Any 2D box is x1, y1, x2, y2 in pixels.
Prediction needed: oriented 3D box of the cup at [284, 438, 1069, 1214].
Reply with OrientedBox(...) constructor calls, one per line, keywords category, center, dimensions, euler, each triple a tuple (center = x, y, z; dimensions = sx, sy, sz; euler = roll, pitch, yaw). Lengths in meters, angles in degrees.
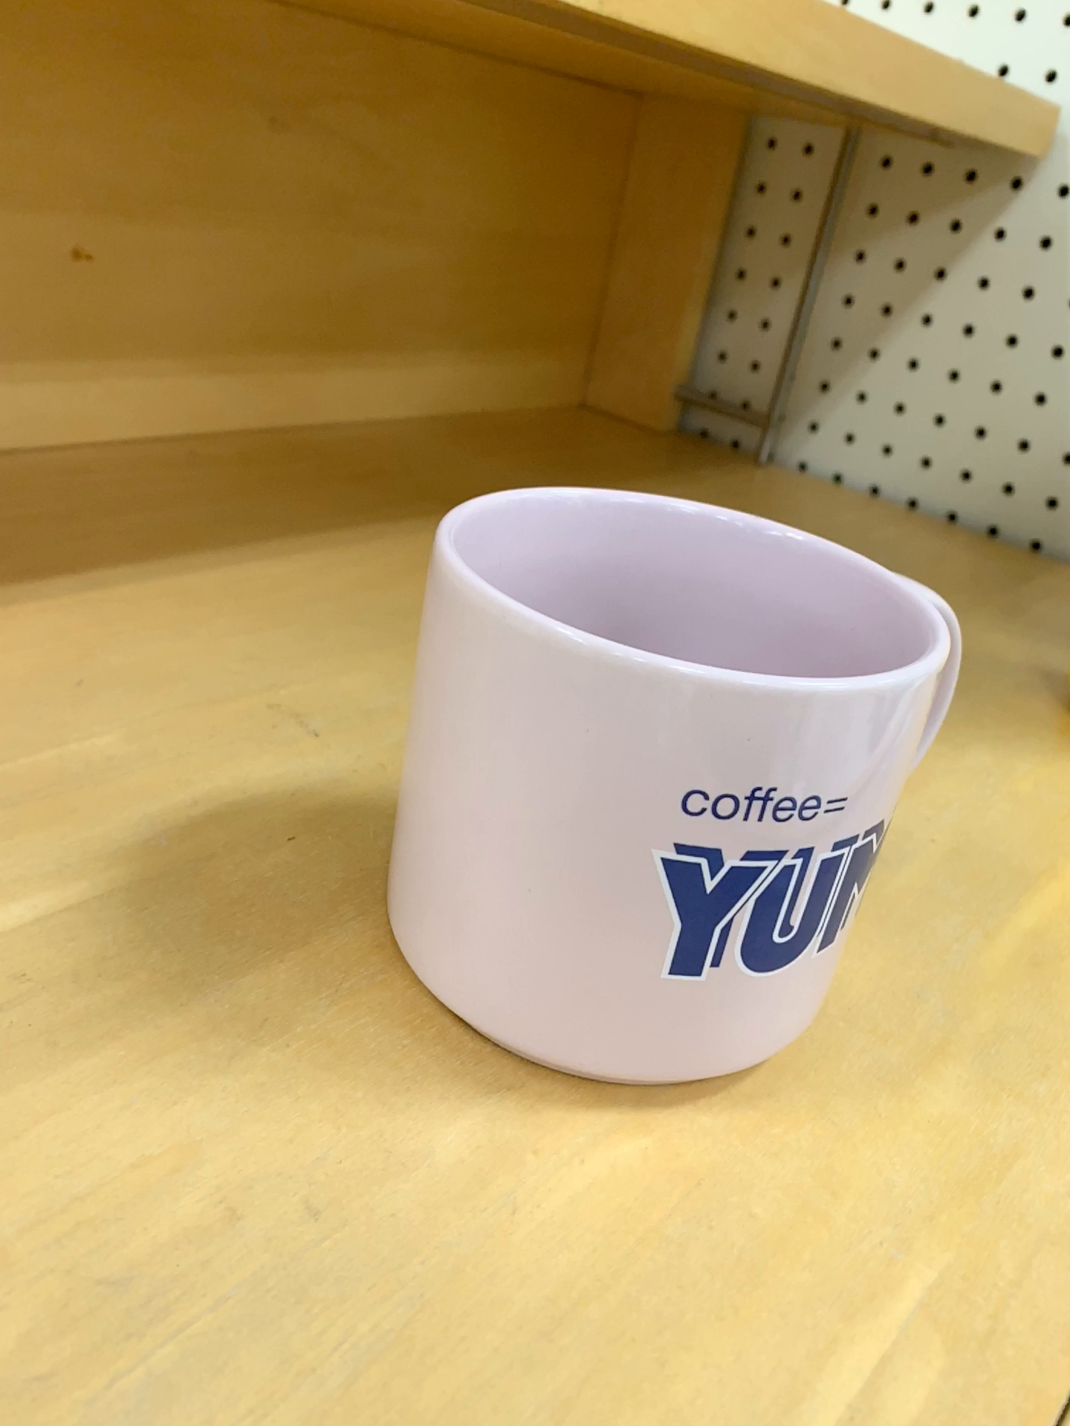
OrientedBox(category="cup", center=(0.040, 0.003, 0.225), dimensions=(0.096, 0.082, 0.142), euler=(31, 33, 35))
